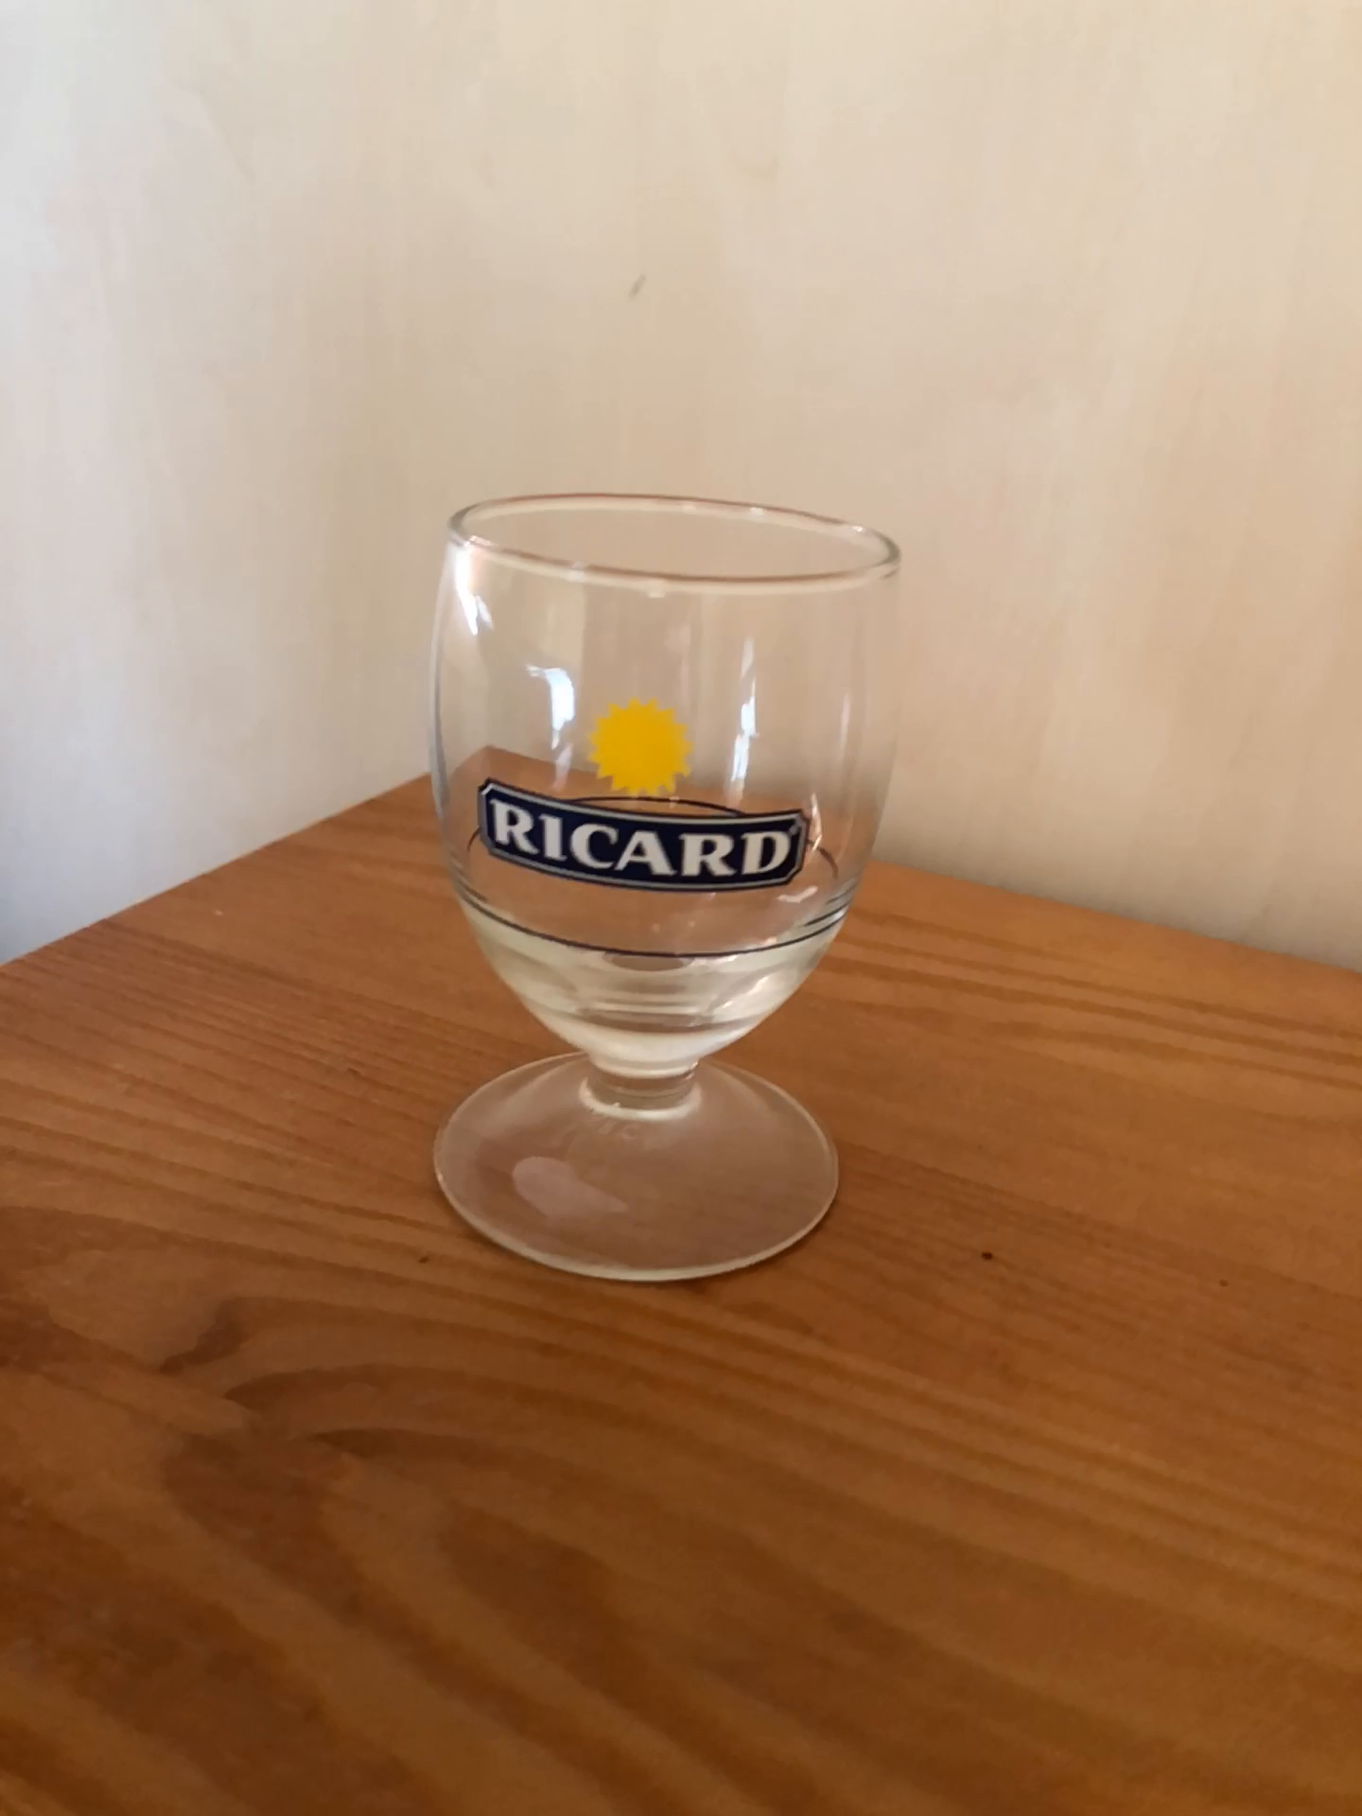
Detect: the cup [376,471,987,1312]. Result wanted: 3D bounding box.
[{"bbox_3d":[-0.002,-0.006,0.222,0.069,0.098,0.069,4,23,-2],"label":"cup"}]
